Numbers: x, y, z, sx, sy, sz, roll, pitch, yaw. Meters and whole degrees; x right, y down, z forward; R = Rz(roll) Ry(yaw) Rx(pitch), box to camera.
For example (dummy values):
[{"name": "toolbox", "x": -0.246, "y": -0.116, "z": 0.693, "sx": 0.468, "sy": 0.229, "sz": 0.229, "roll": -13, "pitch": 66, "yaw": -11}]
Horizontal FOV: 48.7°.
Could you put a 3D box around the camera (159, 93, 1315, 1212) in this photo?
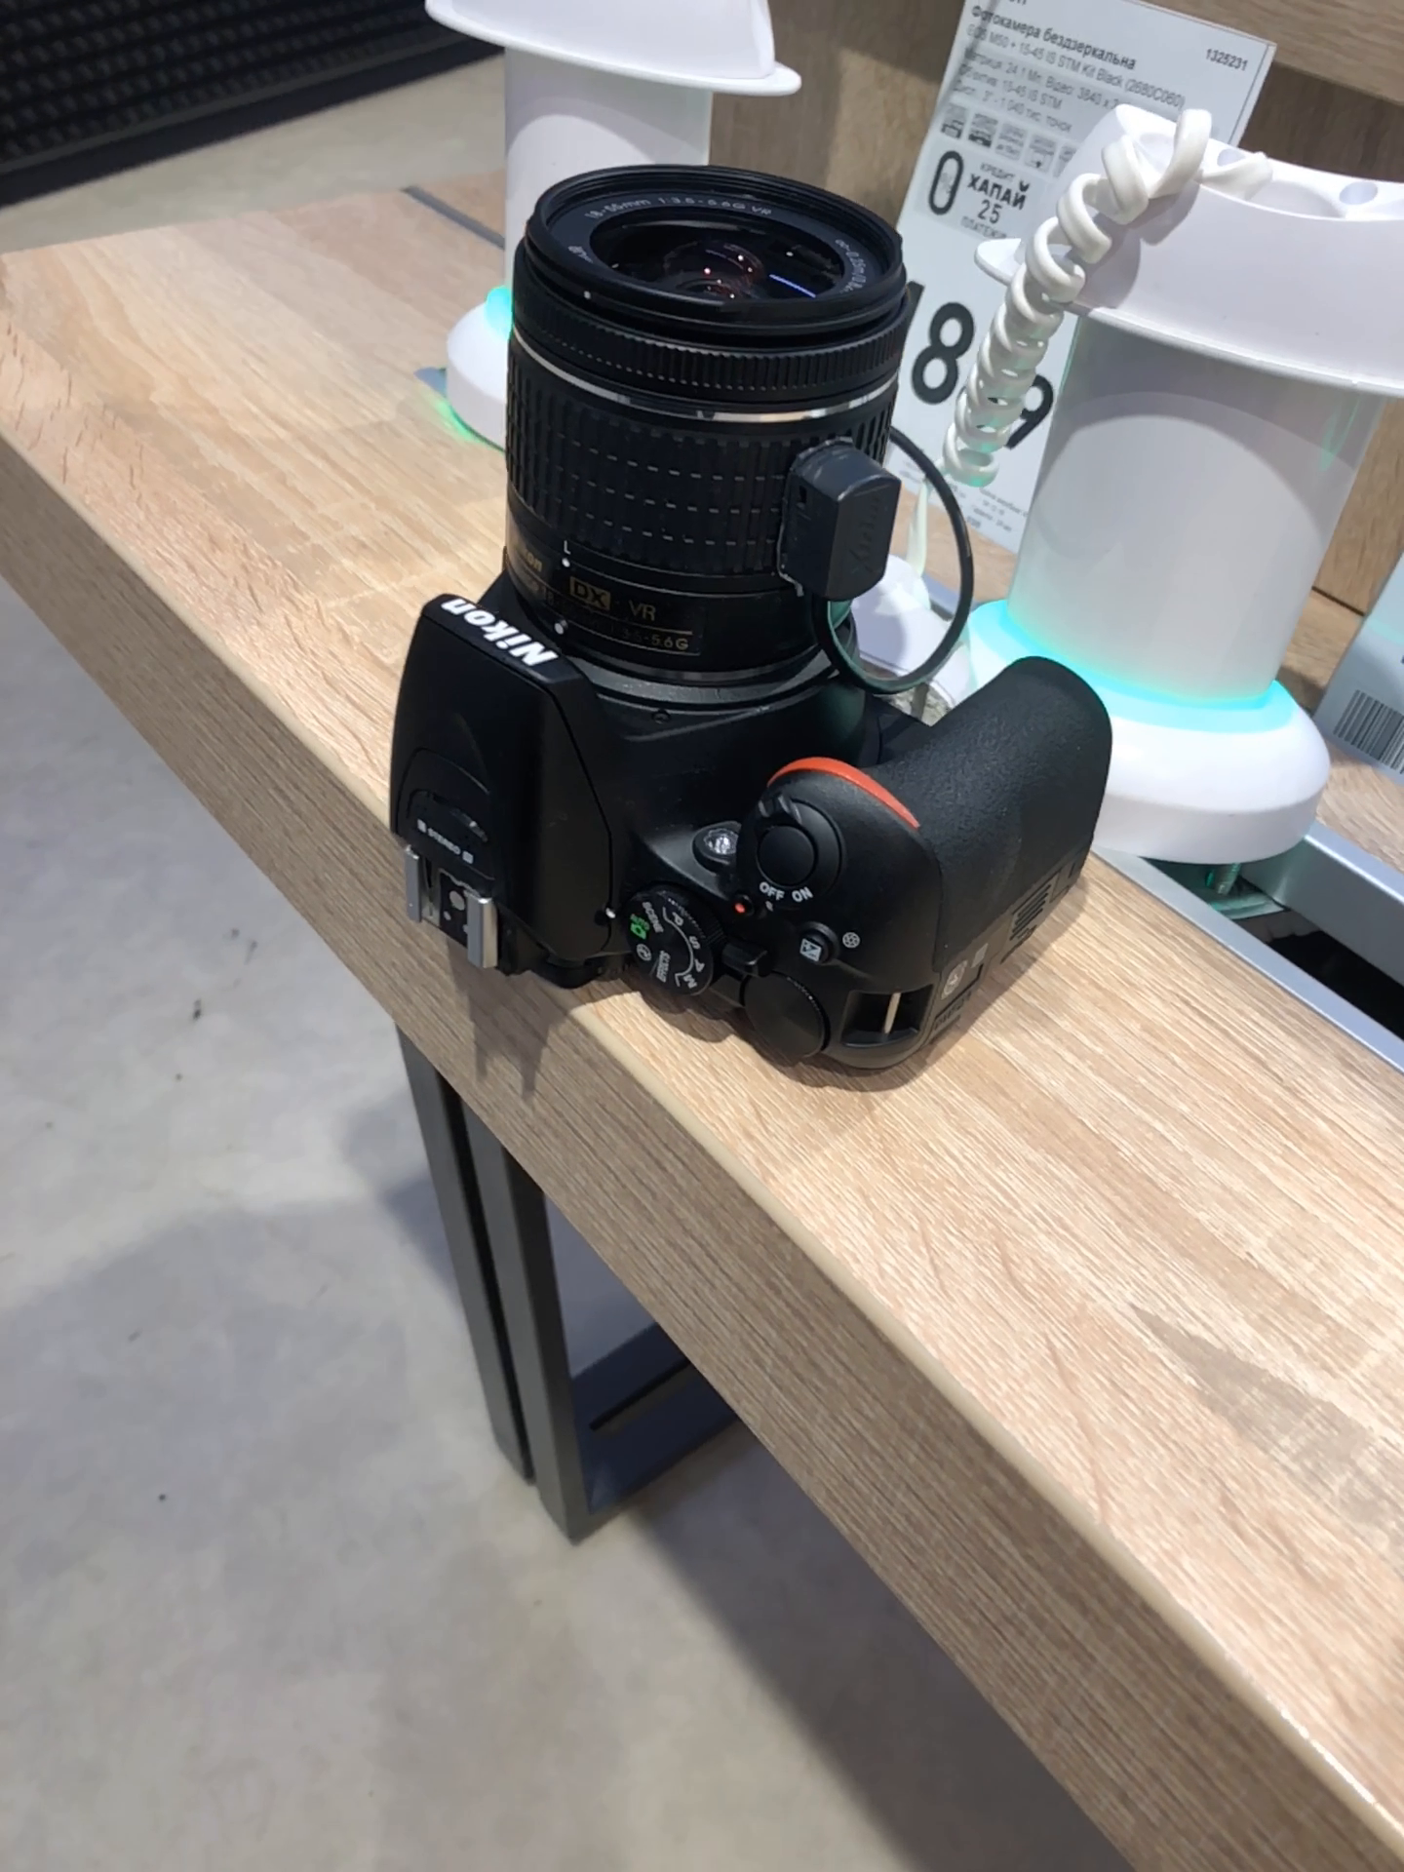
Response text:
[{"name": "camera", "x": 0.004, "y": -0.058, "z": 0.273, "sx": 0.132, "sy": 0.117, "sz": 0.116, "roll": 30, "pitch": 48, "yaw": 24}]
